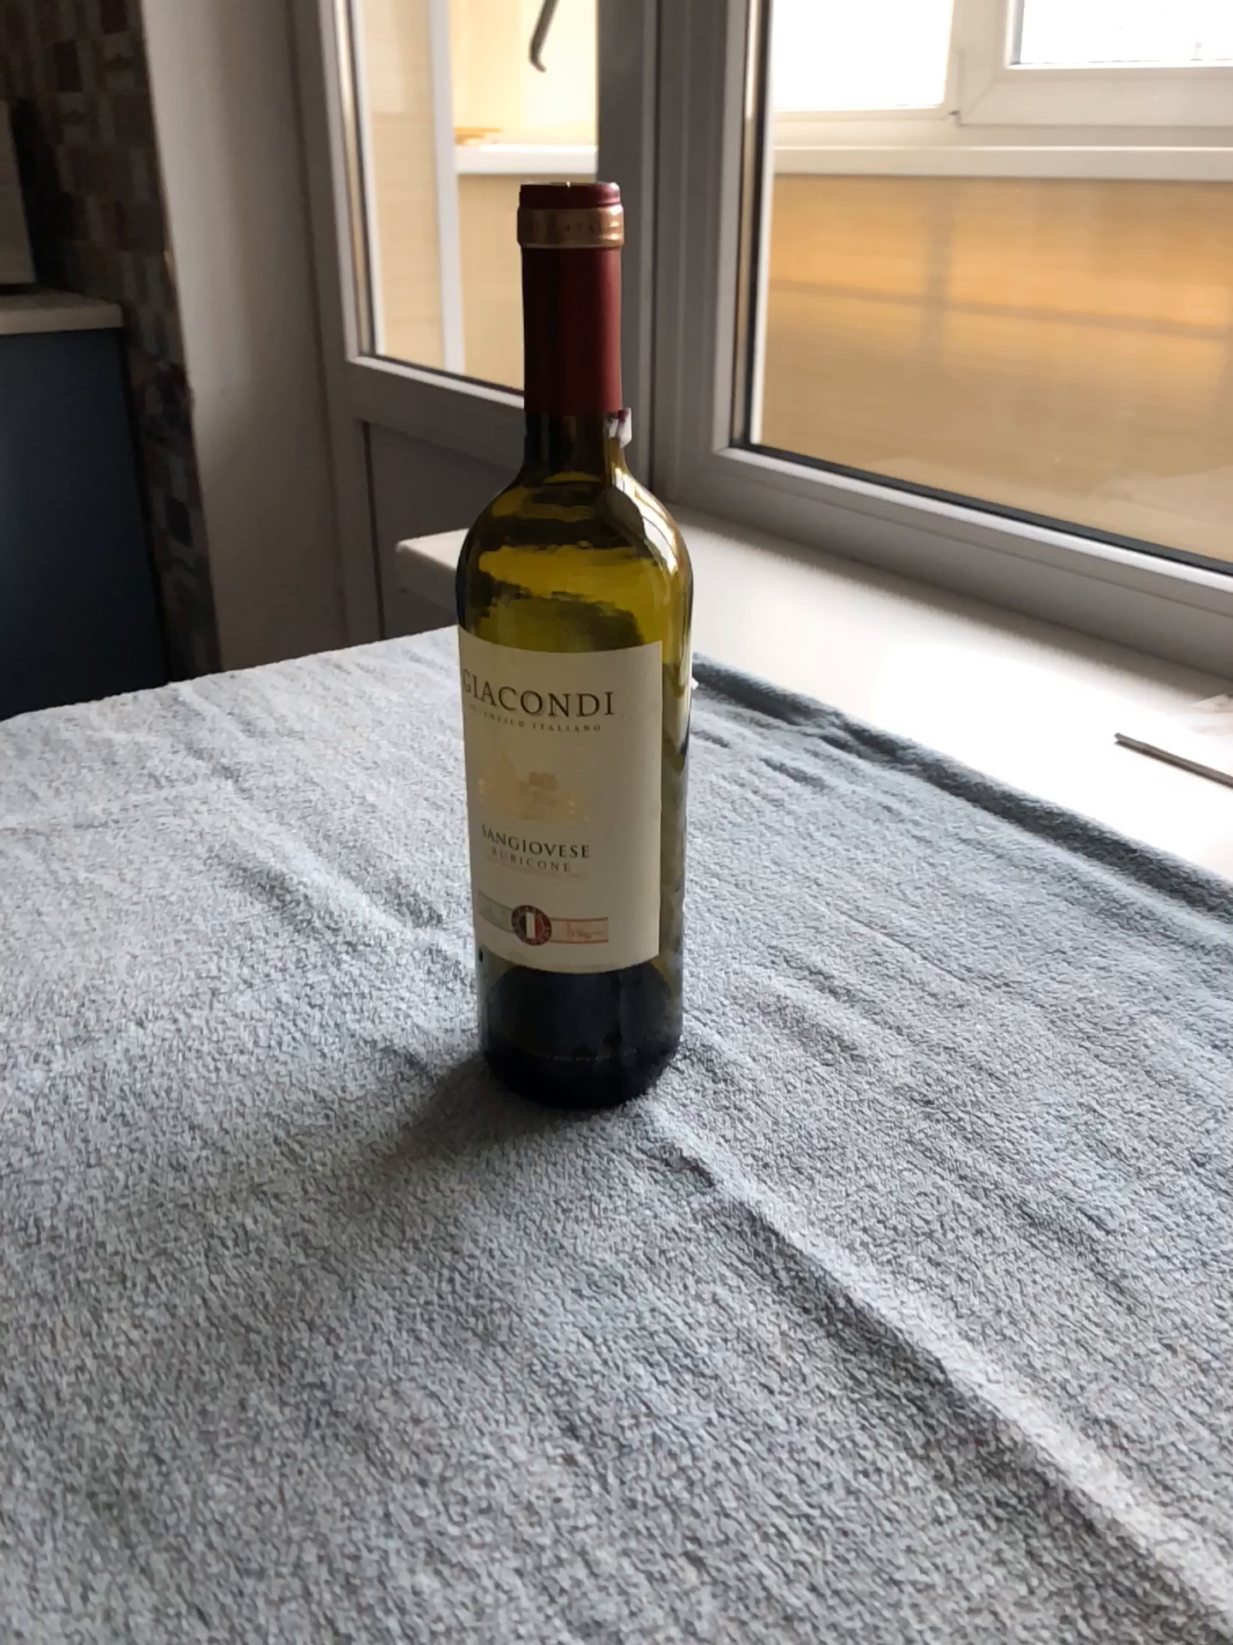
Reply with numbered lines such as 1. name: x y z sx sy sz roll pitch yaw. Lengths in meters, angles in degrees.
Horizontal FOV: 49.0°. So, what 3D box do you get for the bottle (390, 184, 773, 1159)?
1. bottle: -0.008 -0.044 0.445 0.080 0.299 0.080 0 26 0
